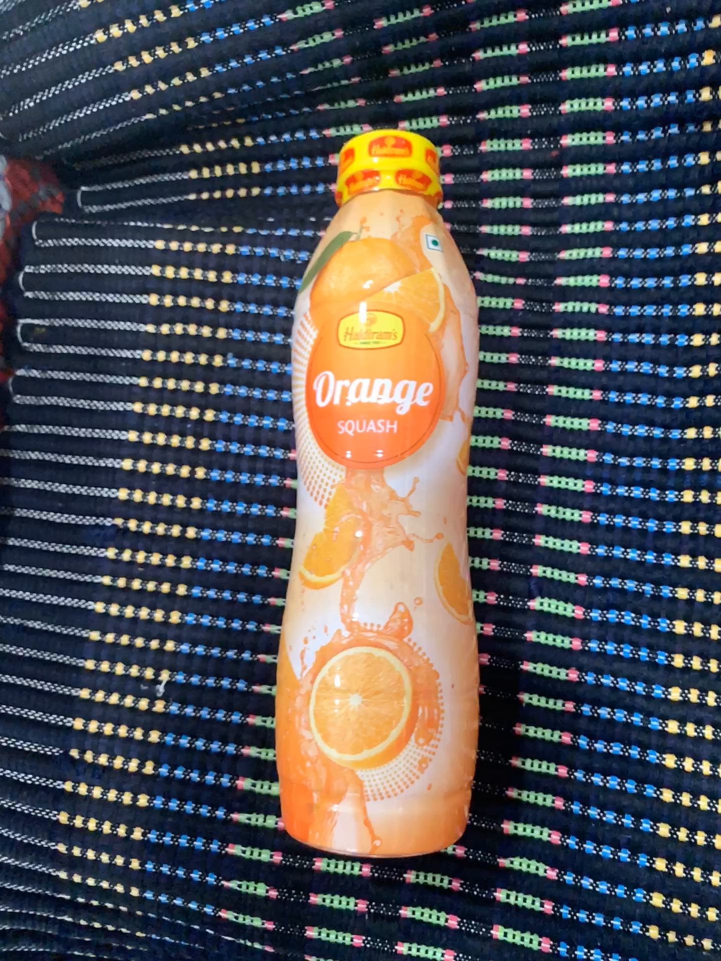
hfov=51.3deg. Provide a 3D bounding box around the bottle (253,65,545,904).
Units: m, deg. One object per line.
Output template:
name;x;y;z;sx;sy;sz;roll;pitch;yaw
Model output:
bottle;0.020;-0.006;0.256;0.080;0.060;0.250;1;80;10
